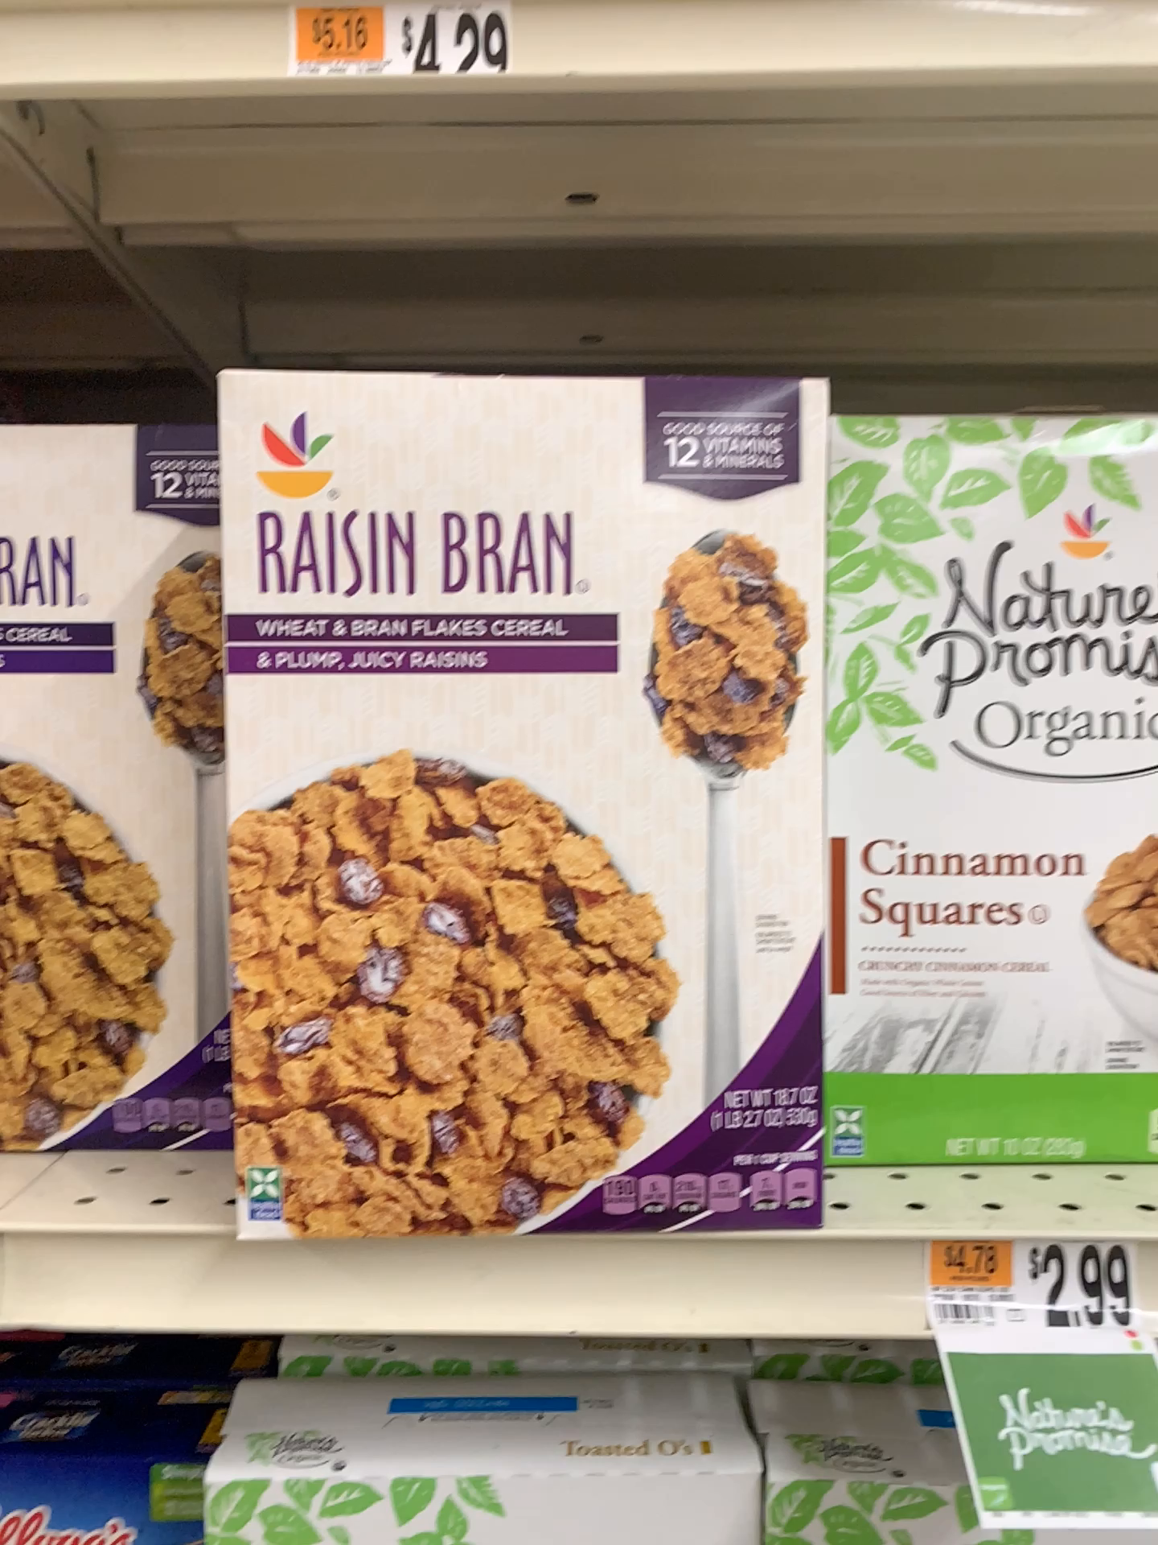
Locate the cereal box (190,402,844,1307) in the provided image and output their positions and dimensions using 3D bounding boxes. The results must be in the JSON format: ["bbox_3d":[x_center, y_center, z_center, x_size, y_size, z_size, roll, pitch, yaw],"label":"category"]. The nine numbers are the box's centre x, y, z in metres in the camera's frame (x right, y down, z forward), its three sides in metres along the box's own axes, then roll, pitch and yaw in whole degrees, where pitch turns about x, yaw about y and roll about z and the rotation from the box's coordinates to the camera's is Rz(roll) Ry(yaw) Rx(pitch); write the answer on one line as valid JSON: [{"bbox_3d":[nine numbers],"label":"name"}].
[{"bbox_3d":[-0.019,0.025,0.390,0.190,0.270,0.070,0,4,-2],"label":"cereal box"}]
